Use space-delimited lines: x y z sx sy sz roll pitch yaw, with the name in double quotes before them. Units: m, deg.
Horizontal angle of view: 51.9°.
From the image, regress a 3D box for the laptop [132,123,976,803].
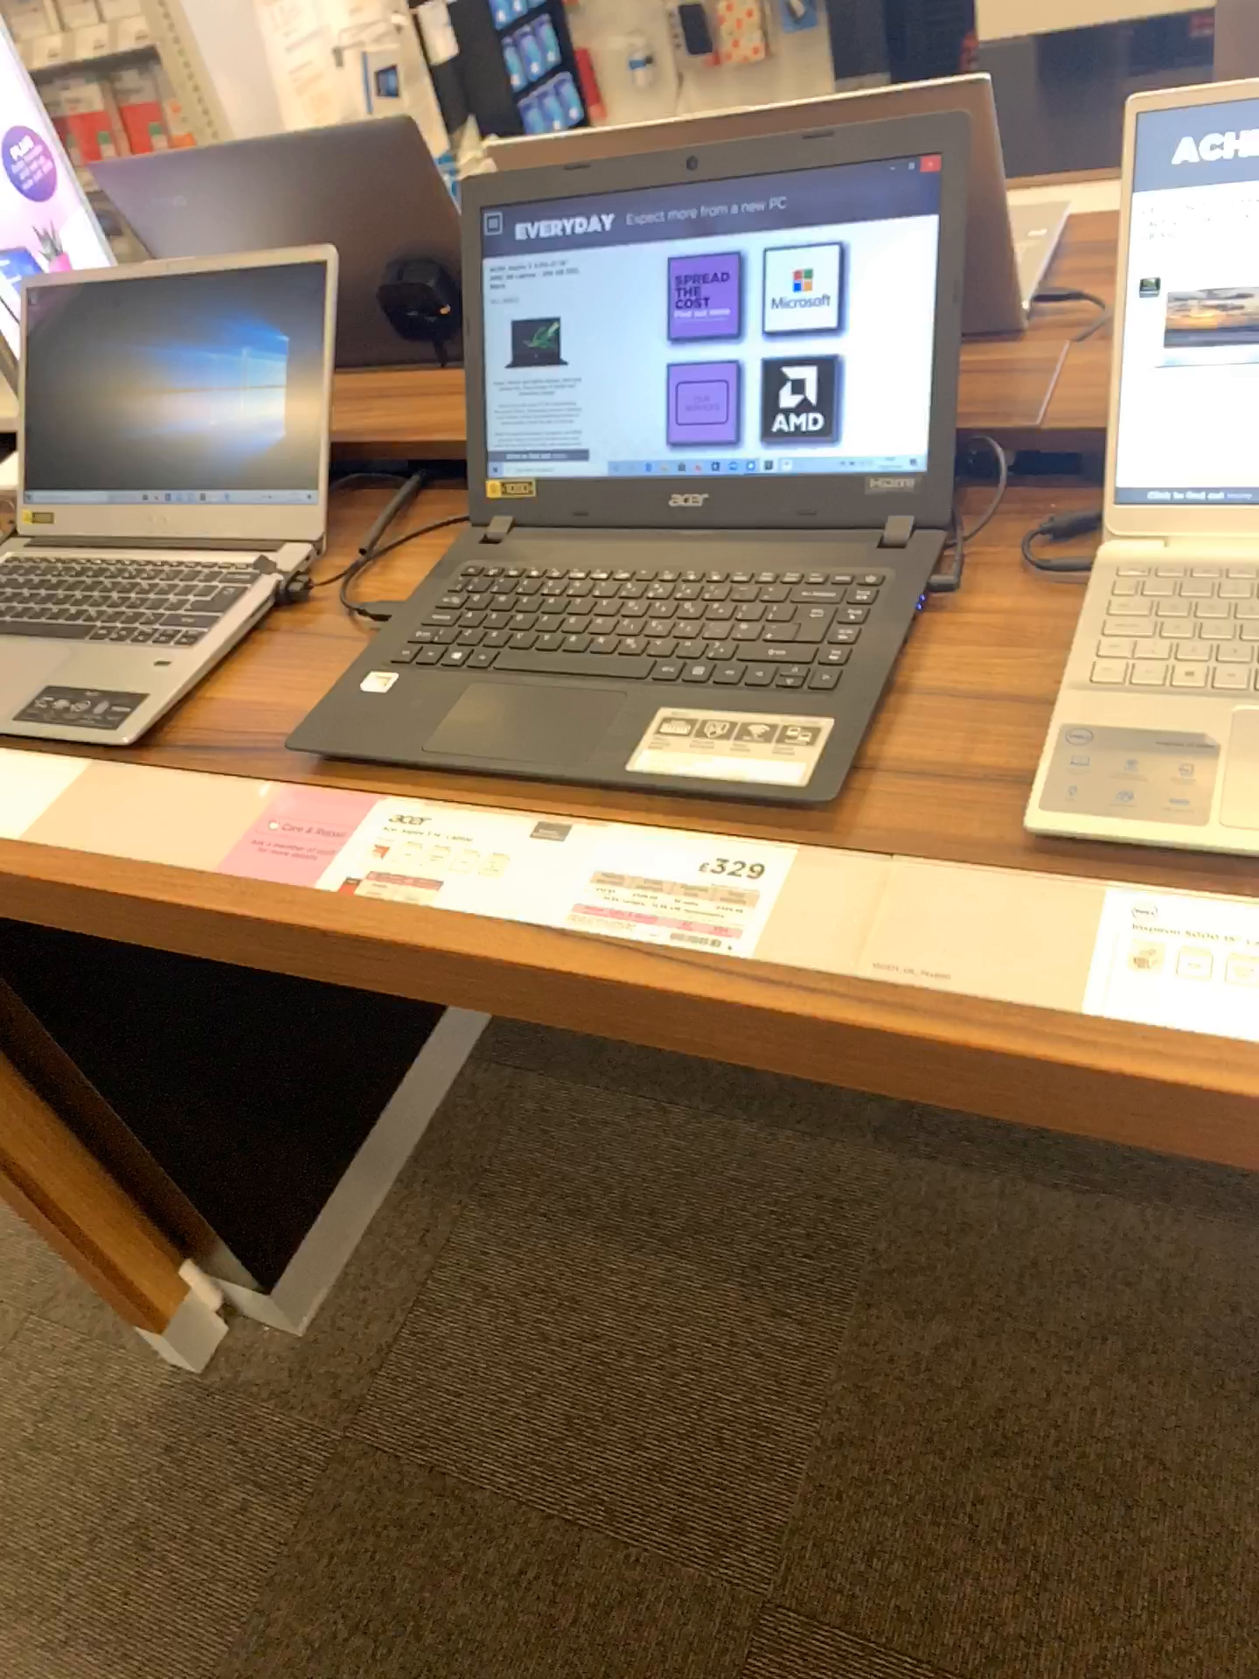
"laptop" -0.008 -0.226 0.734 0.325 0.193 0.357 7 45 25
